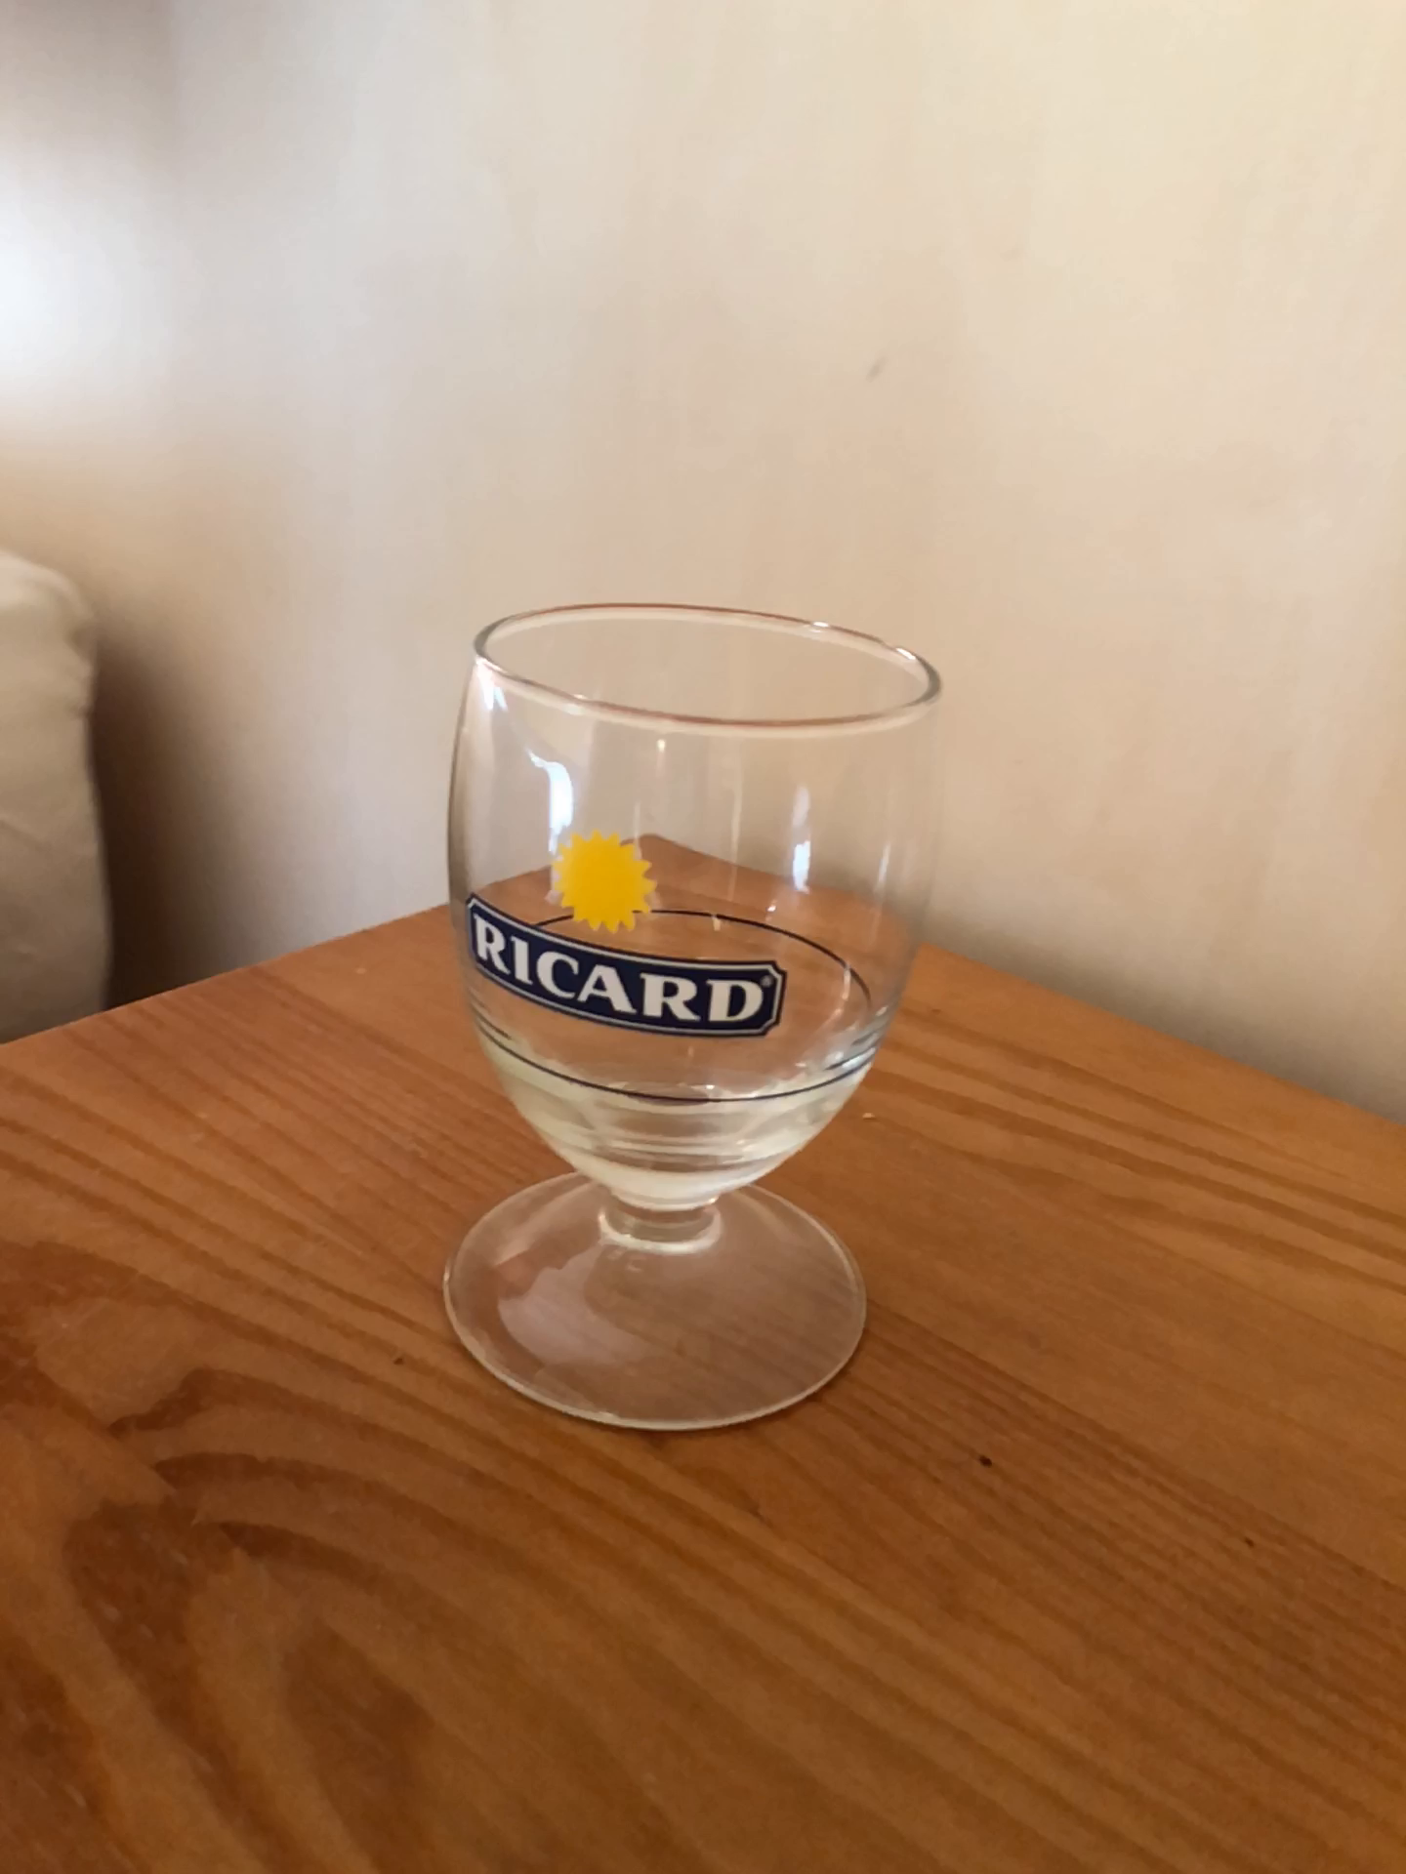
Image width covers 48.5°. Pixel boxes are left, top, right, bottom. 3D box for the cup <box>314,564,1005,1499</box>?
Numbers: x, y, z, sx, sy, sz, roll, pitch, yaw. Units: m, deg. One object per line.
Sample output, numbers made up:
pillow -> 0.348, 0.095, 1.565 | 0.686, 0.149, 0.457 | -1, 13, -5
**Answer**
cup -> -0.005, 0.007, 0.219 | 0.069, 0.098, 0.069 | 5, 23, -2
